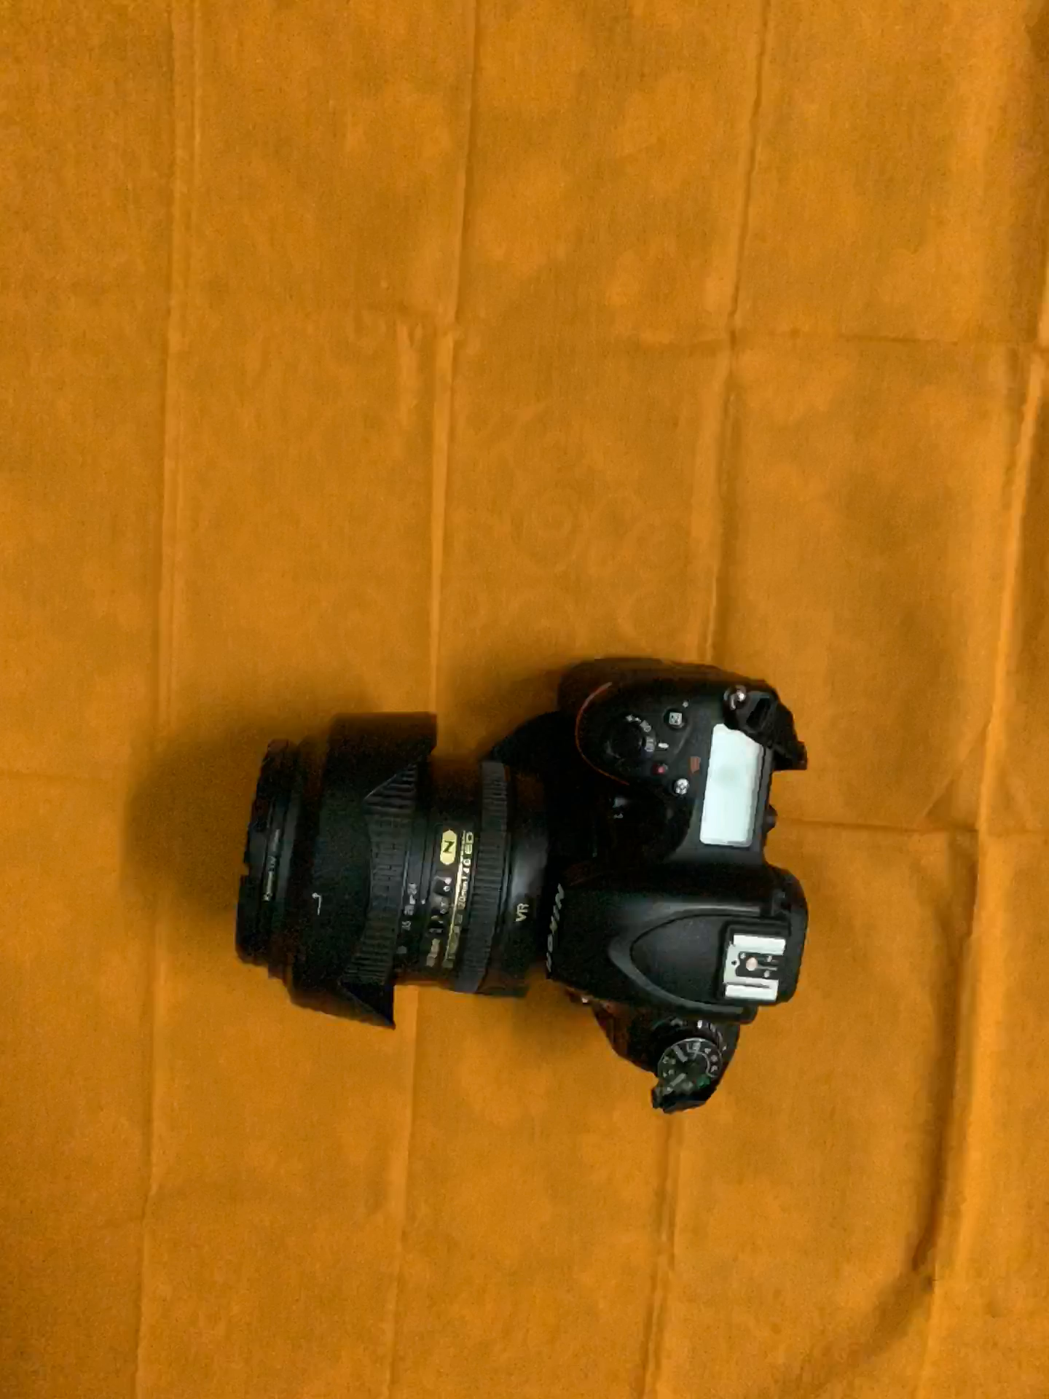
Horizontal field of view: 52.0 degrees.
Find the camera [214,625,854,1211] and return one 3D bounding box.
[{"bbox_3d":[0.003,0.059,0.364,0.170,0.110,0.152,6,95,4],"label":"camera"}]
